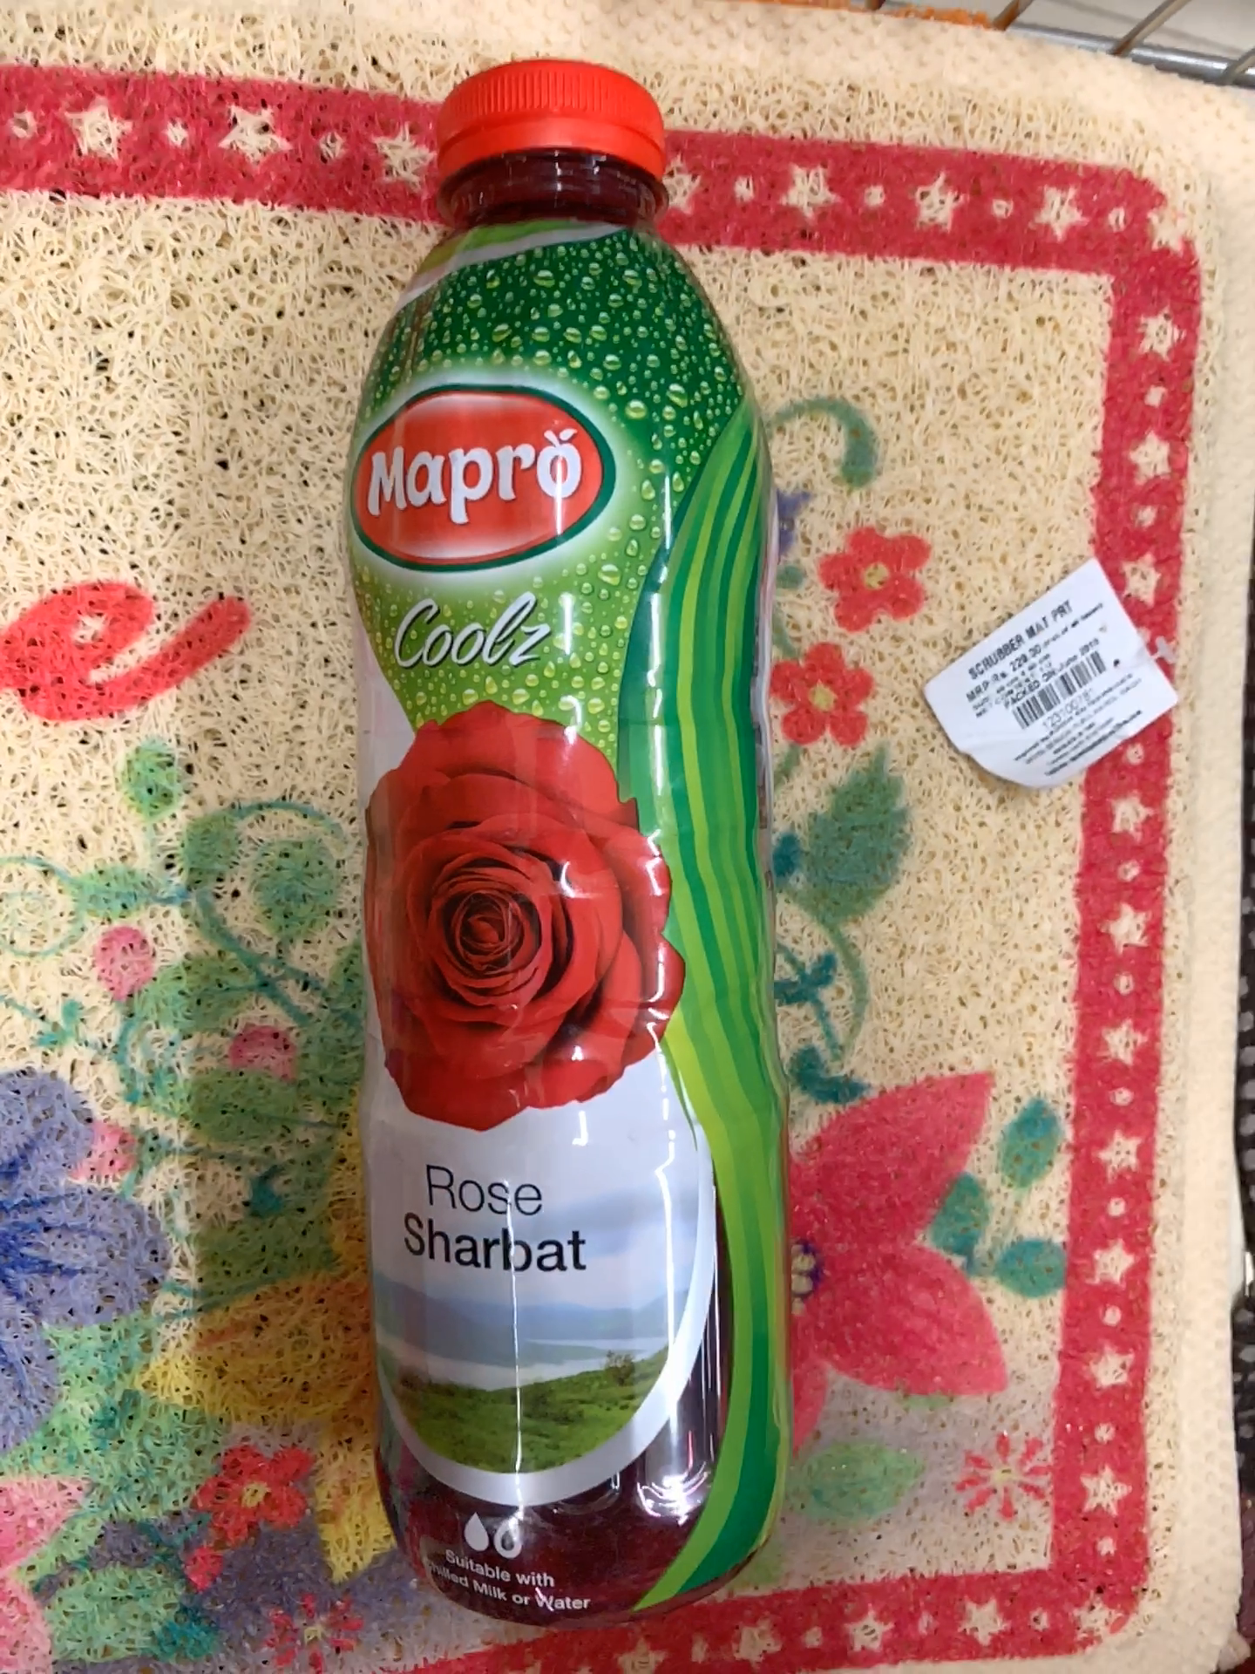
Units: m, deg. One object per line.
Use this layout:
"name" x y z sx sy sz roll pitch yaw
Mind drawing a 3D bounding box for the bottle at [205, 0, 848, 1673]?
"bottle" -0.006 -0.008 0.217 0.080 0.080 0.250 0 96 14
